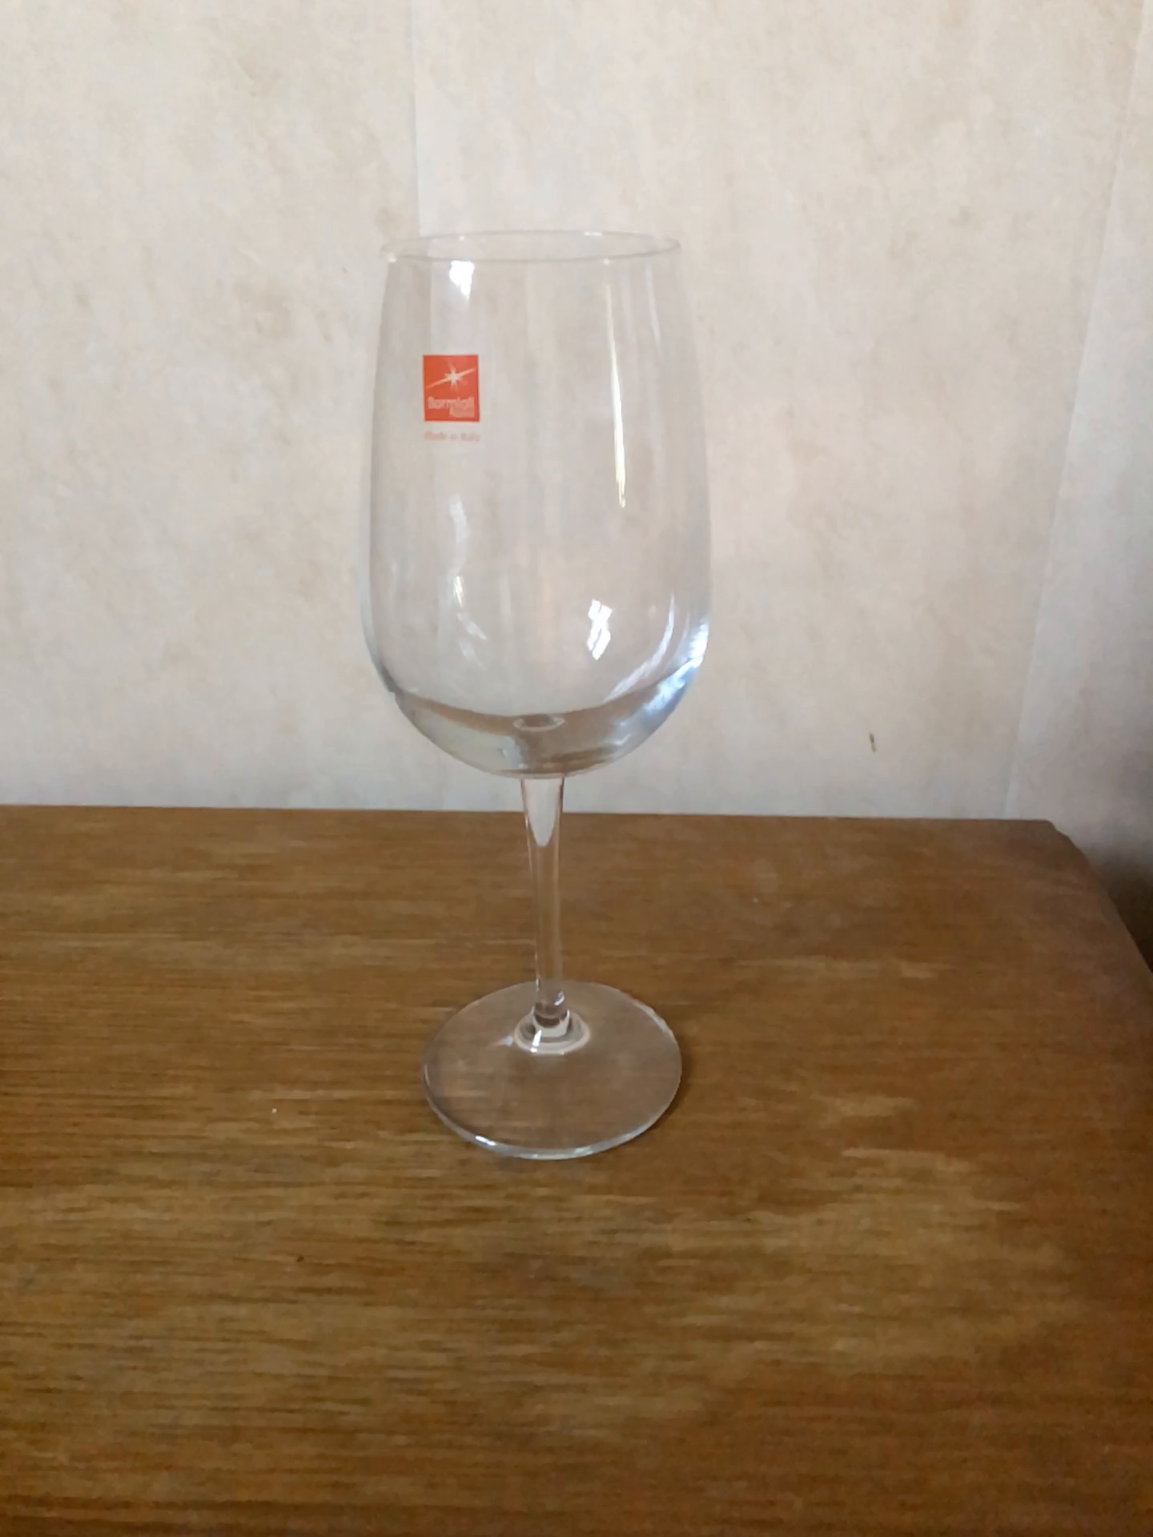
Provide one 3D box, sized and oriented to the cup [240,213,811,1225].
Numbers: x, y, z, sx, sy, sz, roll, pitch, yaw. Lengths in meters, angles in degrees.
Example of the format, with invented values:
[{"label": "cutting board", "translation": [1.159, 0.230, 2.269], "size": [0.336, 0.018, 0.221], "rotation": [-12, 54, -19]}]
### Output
[{"label": "cup", "translation": [-0.007, -0.016, 0.332], "size": [0.090, 0.229, 0.101], "rotation": [12, 28, 22]}]
